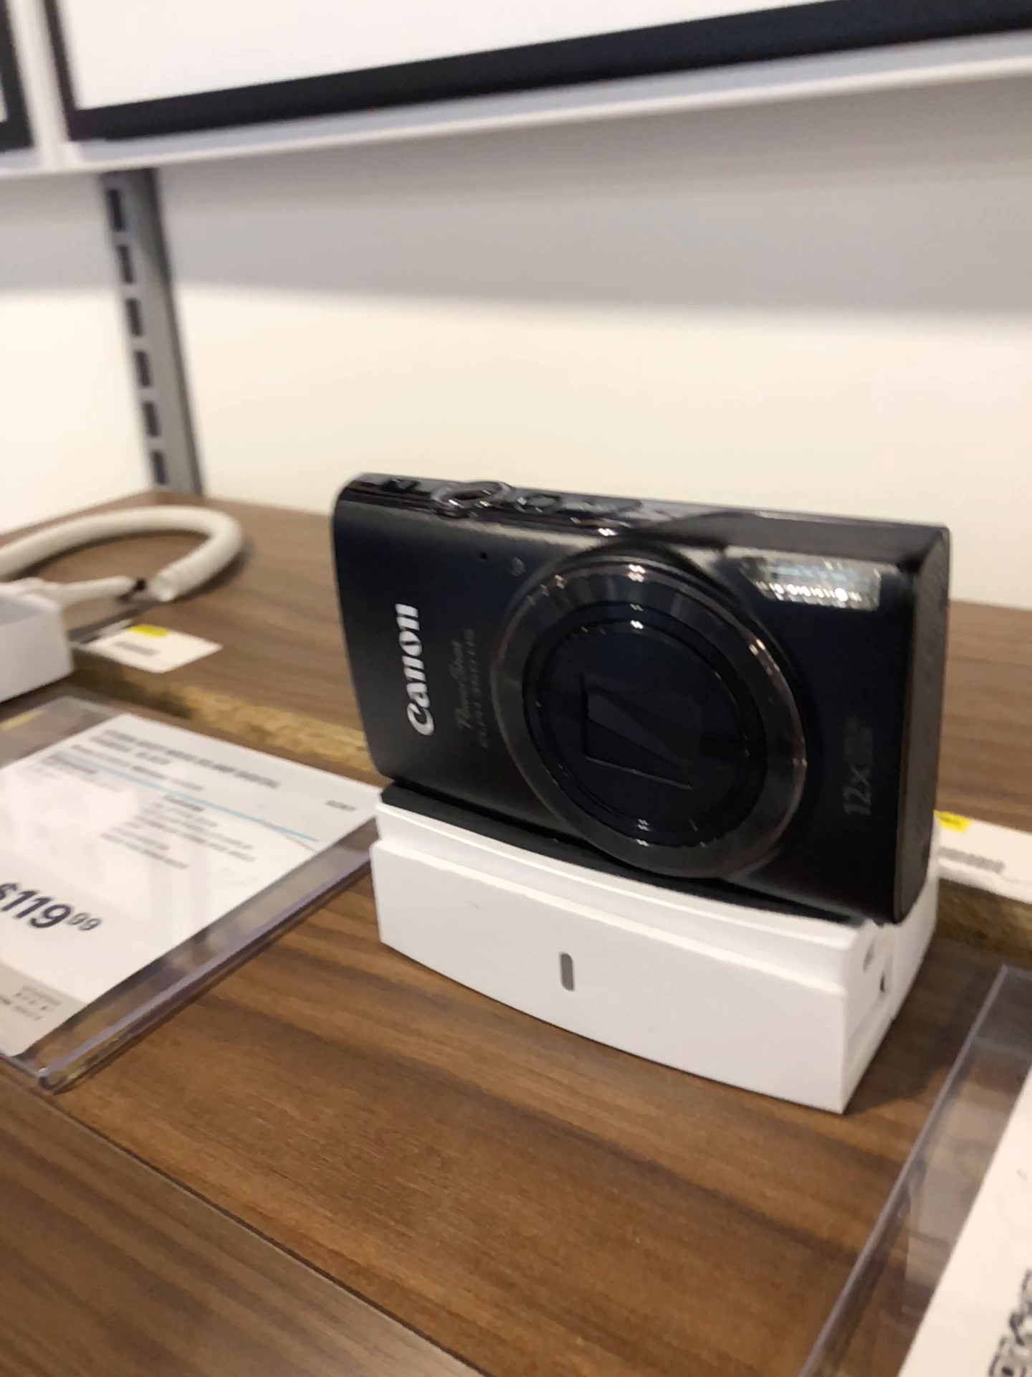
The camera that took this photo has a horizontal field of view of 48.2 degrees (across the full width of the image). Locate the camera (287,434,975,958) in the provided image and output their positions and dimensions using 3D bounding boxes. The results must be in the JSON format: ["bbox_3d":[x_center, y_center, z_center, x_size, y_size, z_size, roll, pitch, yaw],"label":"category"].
[{"bbox_3d":[0.014,-0.005,0.183,0.100,0.060,0.030,12,26,32],"label":"camera"}]
